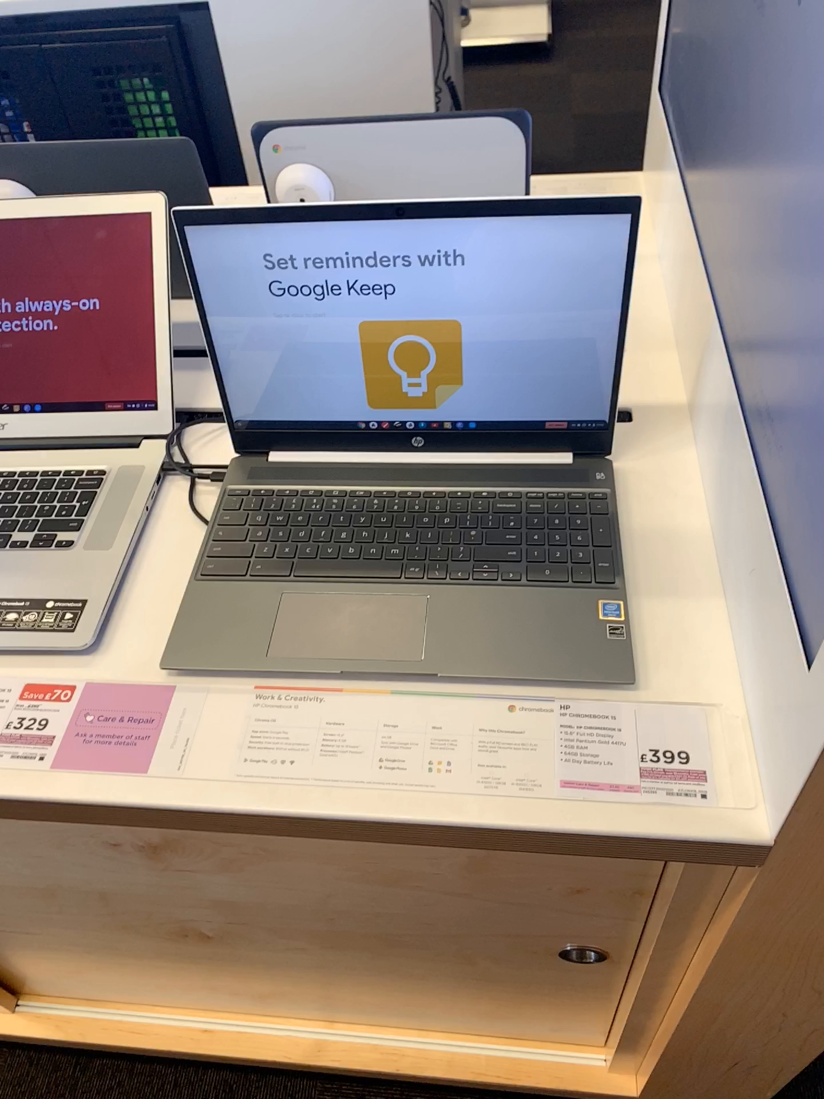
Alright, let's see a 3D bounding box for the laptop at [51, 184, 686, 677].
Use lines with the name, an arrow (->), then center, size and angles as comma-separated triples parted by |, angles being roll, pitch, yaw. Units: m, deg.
laptop -> -0.012, -0.090, 0.630 | 0.351, 0.228, 0.265 | 1, 48, 7
